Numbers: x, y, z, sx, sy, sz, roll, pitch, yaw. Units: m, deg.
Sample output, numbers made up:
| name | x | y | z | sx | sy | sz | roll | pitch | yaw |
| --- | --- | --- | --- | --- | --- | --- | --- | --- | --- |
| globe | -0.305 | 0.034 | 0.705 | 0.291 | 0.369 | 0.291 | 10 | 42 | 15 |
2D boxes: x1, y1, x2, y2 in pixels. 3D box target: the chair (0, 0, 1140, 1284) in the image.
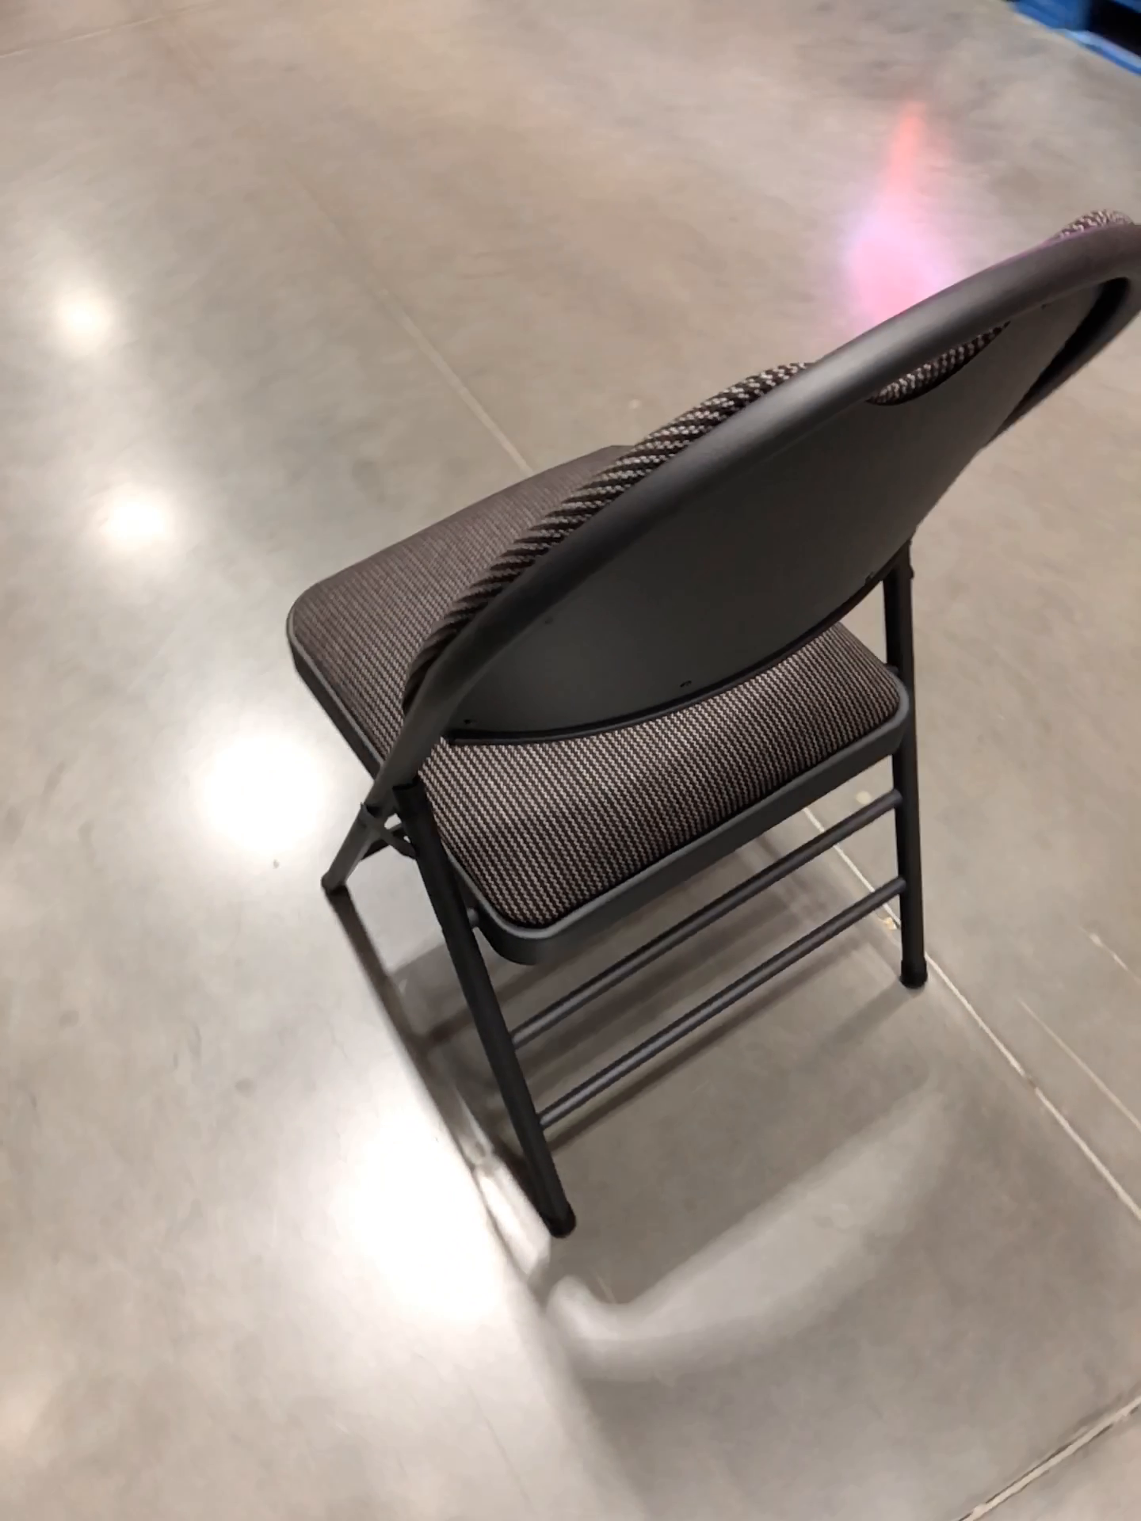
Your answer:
| name | x | y | z | sx | sy | sz | roll | pitch | yaw |
| --- | --- | --- | --- | --- | --- | --- | --- | --- | --- |
| chair | 0.024 | -0.120 | 0.971 | 0.520 | 0.867 | 0.561 | -28 | 55 | -19 |
